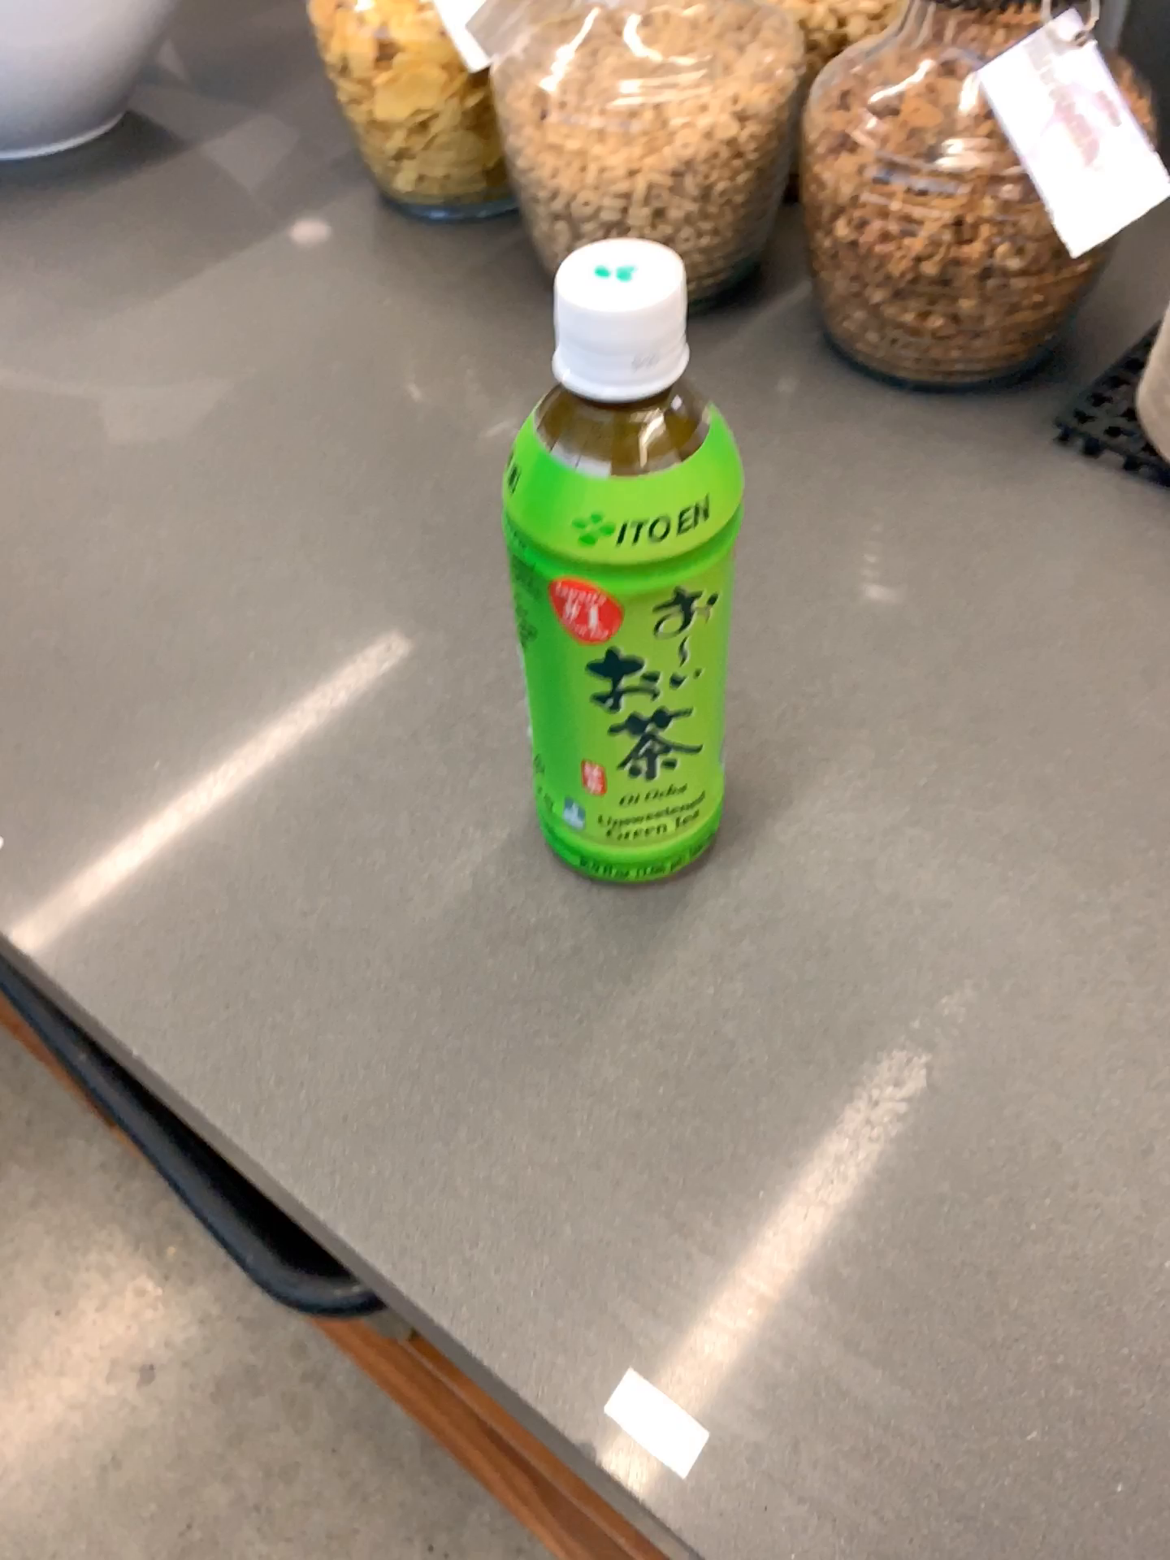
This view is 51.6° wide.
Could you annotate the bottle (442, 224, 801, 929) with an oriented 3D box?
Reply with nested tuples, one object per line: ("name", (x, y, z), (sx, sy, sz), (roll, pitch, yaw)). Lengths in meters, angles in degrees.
("bottle", (0.010, -0.046, 0.360), (0.070, 0.199, 0.070), (-2, 50, 2))
